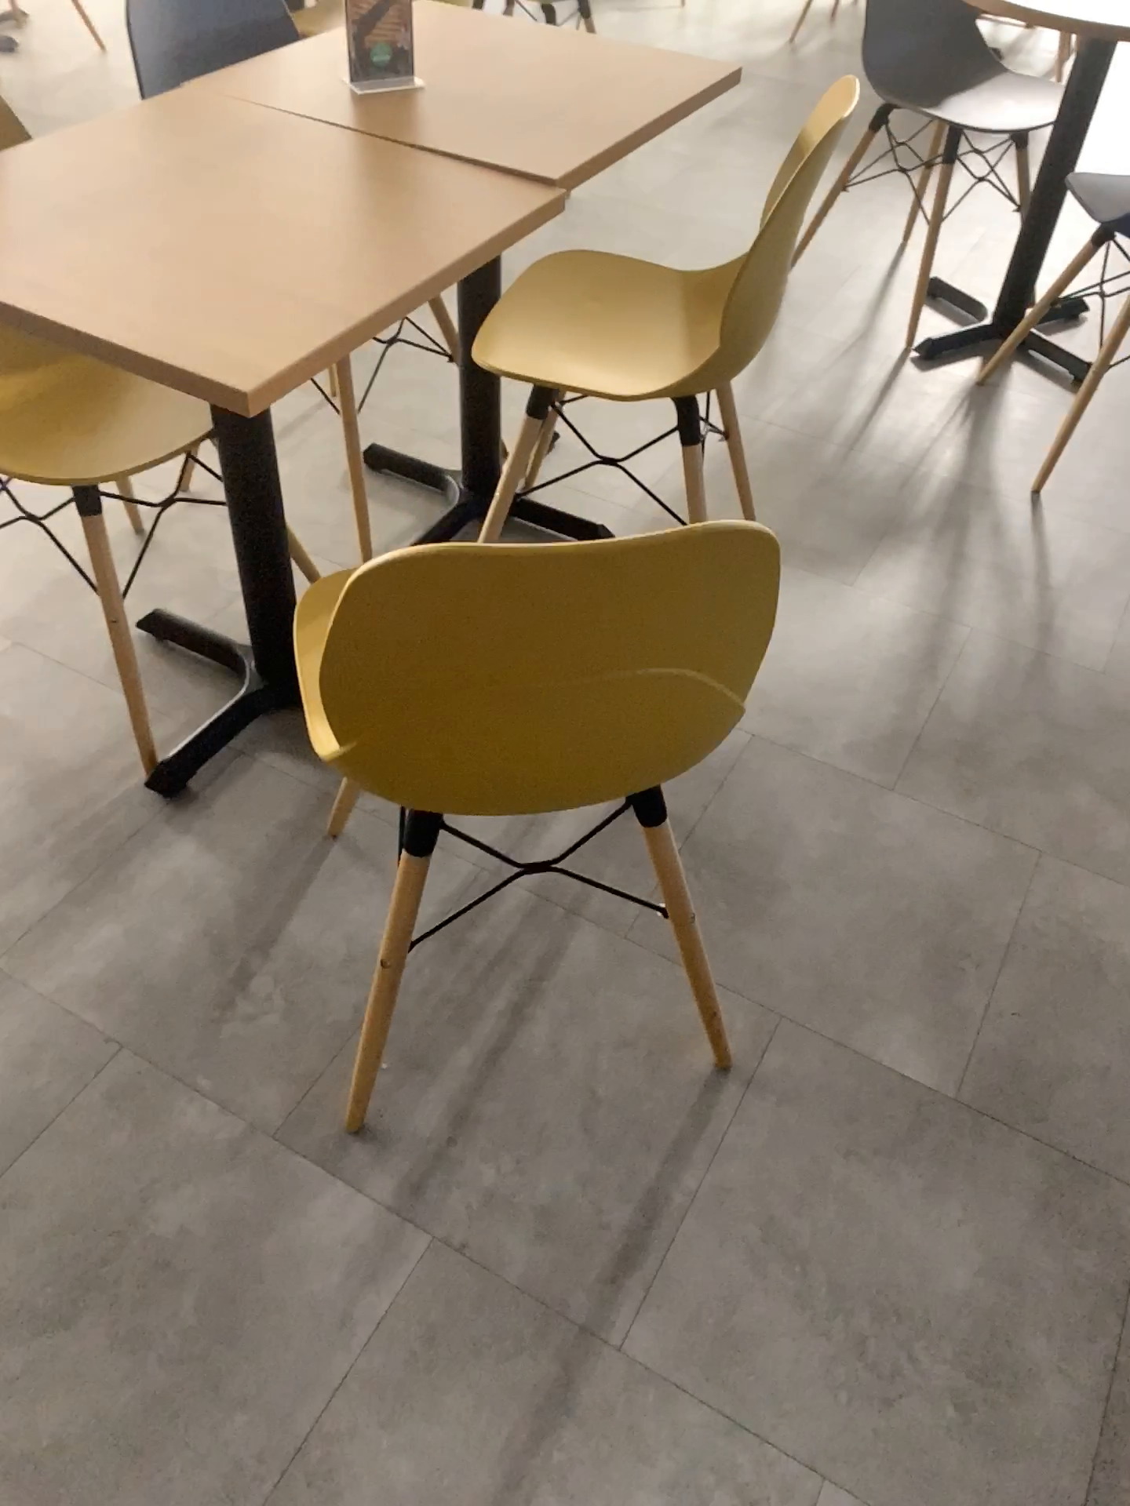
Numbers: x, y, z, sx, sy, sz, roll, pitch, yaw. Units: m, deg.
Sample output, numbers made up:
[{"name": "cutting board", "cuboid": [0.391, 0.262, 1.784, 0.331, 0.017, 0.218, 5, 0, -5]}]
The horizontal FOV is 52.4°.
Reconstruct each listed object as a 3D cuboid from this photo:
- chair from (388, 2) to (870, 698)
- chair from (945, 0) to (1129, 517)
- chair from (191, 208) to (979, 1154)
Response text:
[{"name": "chair", "cuboid": [0.096, -0.587, 1.731, 0.529, 0.781, 0.521, 10, 46, 7]}, {"name": "chair", "cuboid": [1.143, -0.921, 2.133, 0.516, 0.781, 0.534, -1, 46, -4]}, {"name": "chair", "cuboid": [-0.039, -0.052, 1.192, 0.517, 0.781, 0.523, -7, 46, -10]}]
